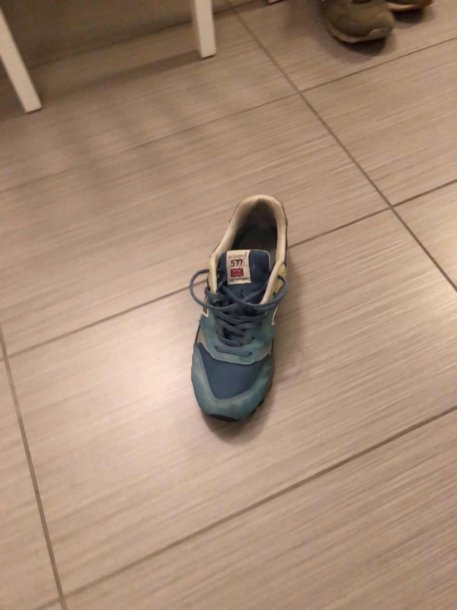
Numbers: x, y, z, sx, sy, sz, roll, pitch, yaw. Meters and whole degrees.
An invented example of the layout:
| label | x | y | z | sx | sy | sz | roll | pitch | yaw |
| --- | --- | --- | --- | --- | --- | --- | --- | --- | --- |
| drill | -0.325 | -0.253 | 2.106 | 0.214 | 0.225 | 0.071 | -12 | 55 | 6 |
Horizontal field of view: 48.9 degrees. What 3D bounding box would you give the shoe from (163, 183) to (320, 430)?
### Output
| label | x | y | z | sx | sy | sz | roll | pitch | yaw |
| --- | --- | --- | --- | --- | --- | --- | --- | --- | --- |
| shoe | 0.028 | -0.011 | 0.634 | 0.130 | 0.070 | 0.301 | 9 | 61 | 9 |
